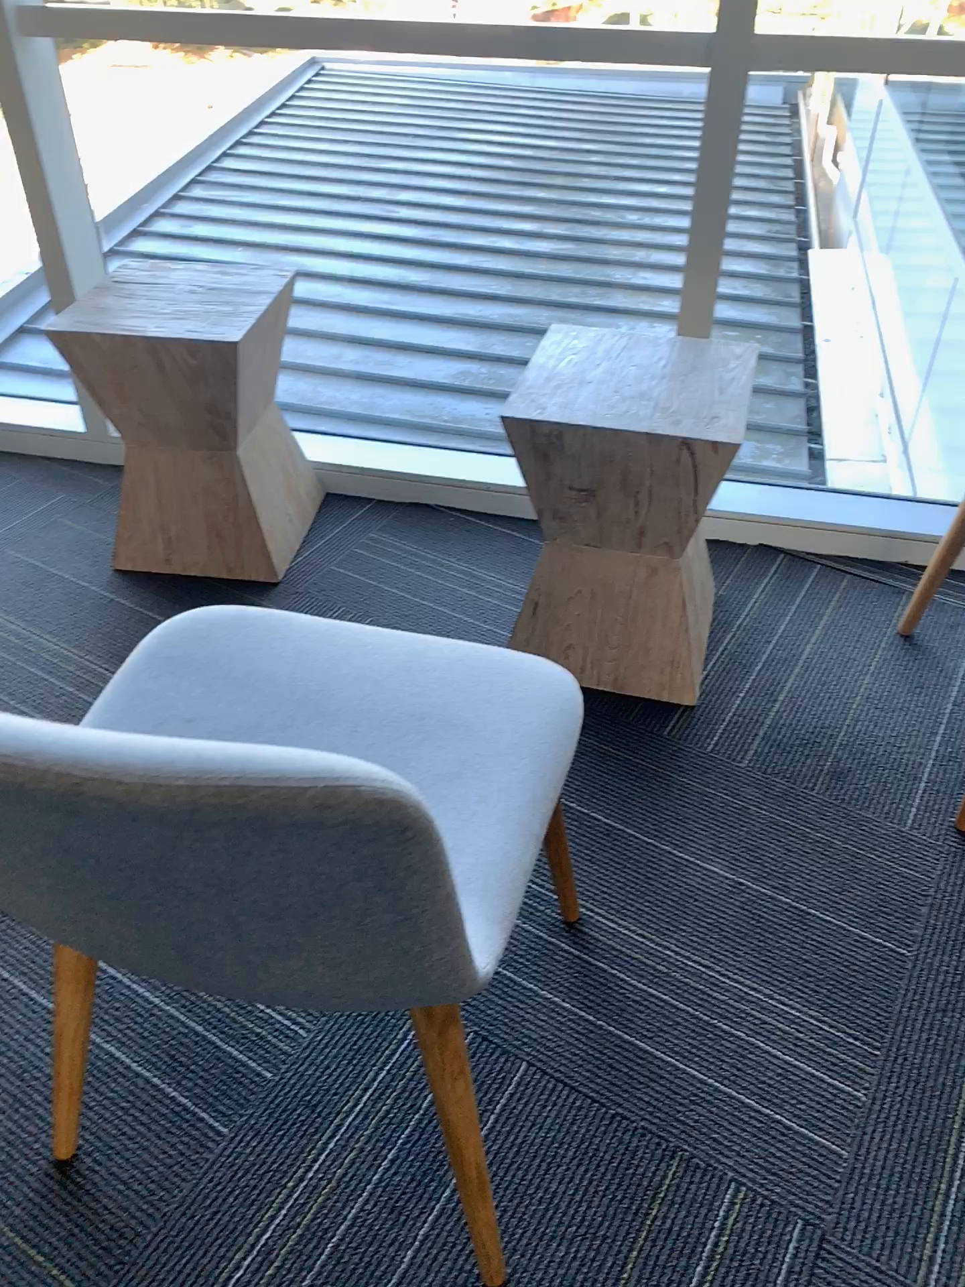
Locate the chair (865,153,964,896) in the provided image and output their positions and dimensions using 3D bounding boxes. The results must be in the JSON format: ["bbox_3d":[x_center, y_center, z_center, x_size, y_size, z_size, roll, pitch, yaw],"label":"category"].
[{"bbox_3d":[0.969,-0.187,1.347,0.600,0.726,0.654,6,39,7],"label":"chair"}]

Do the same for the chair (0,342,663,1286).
[{"bbox_3d":[-0.167,0.161,0.922,0.540,0.676,0.472,9,39,11],"label":"chair"}]
